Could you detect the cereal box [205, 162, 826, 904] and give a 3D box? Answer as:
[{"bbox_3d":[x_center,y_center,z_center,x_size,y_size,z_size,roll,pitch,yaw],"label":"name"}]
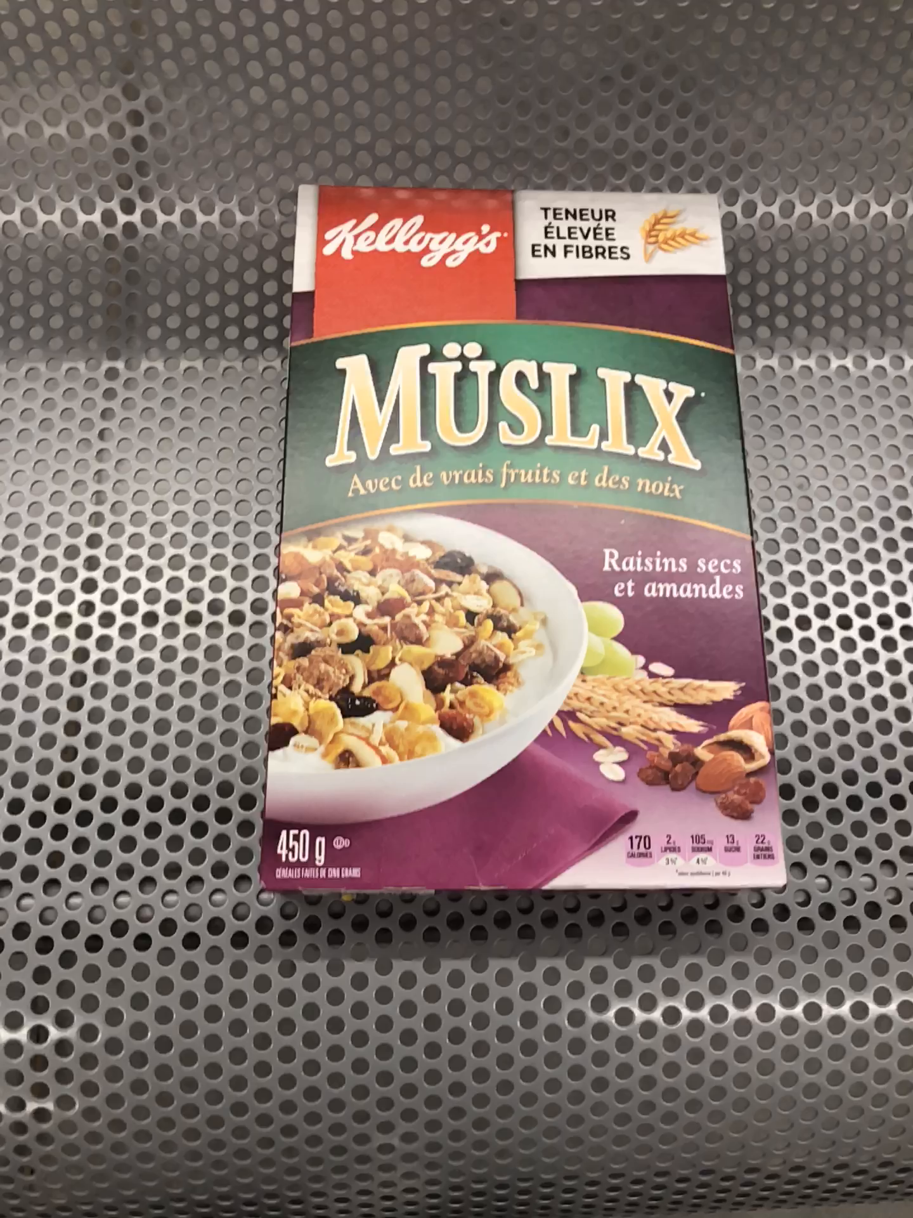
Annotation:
[{"bbox_3d":[0.016,-0.033,0.356,0.180,0.050,0.261,0,72,-2],"label":"cereal box"}]
